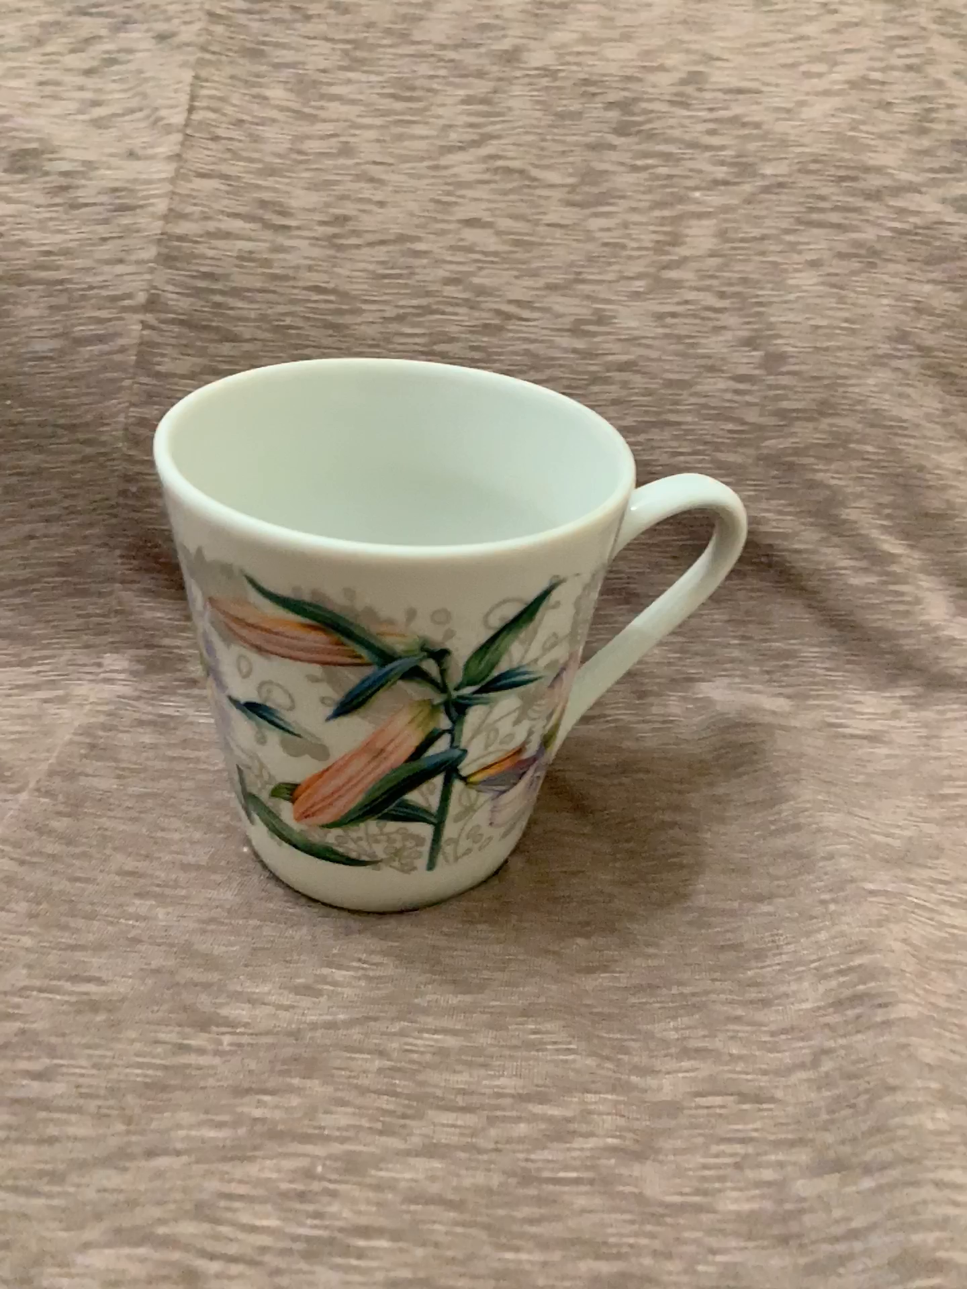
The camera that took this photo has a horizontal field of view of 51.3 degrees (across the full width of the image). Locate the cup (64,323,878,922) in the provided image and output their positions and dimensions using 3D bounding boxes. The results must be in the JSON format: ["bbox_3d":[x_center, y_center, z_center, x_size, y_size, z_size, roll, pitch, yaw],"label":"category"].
[{"bbox_3d":[-0.004,-0.009,0.207,0.119,0.088,0.085,-1,34,-4],"label":"cup"}]
